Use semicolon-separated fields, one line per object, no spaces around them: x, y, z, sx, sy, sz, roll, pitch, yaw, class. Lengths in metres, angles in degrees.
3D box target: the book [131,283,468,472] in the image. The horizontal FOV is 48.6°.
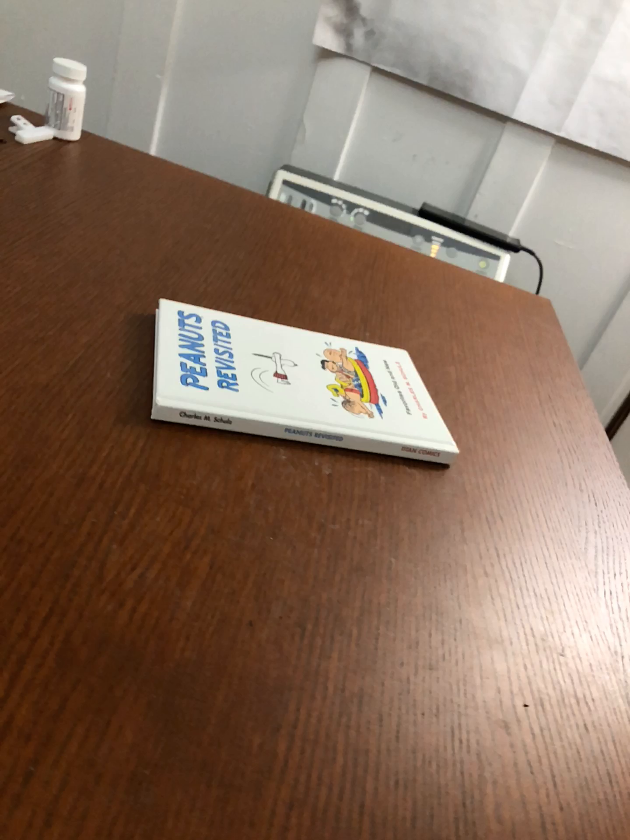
-0.015;-0.033;0.502;0.220;0.020;0.151;9;34;-19;book
